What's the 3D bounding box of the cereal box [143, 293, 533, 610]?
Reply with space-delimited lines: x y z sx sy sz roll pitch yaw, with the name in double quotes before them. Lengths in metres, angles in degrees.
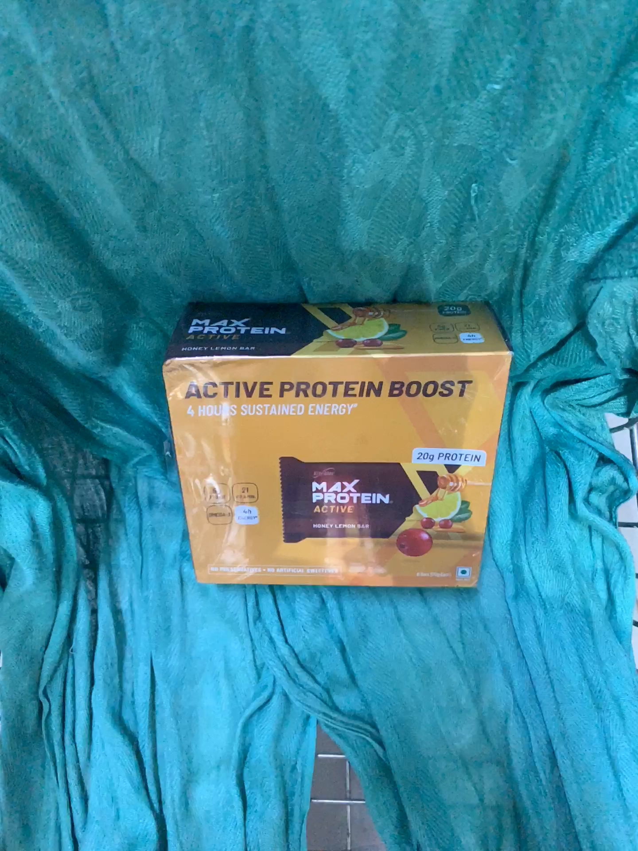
"cereal box" 0.010 0.013 0.338 0.160 0.080 0.140 0 119 3
